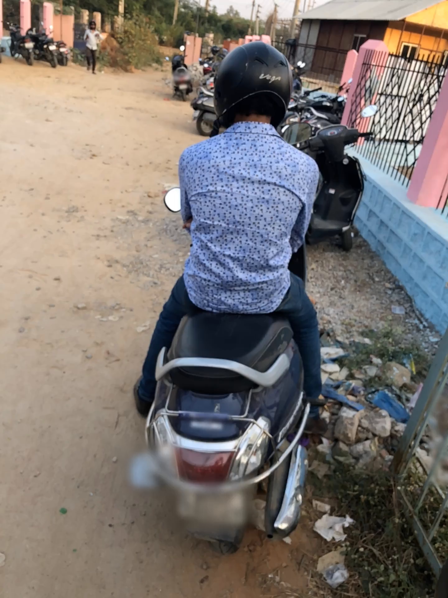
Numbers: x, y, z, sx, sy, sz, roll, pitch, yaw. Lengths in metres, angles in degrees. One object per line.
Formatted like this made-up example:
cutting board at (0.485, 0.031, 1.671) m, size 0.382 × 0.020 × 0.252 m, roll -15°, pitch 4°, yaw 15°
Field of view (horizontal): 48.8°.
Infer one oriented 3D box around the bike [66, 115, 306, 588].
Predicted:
bike at (-0.189, 0.029, 2.010) m, size 0.593 × 1.013 × 1.401 m, roll 7°, pitch 32°, yaw -4°
